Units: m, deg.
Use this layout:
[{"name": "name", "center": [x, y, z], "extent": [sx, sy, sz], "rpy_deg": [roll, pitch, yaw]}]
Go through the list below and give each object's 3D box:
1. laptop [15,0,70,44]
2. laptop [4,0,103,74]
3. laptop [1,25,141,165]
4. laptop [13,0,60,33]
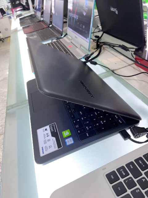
[{"name": "laptop", "center": [-0.225, -0.547, 1.053], "extent": [0.263, 0.195, 0.301], "rpy_deg": [-20, 38, -7]}, {"name": "laptop", "center": [-0.103, -0.356, 0.737], "extent": [0.331, 0.240, 0.370], "rpy_deg": [-21, 37, -6]}, {"name": "laptop", "center": [-0.041, -0.064, 0.421], "extent": [0.231, 0.146, 0.367], "rpy_deg": [-21, 37, -7]}, {"name": "laptop", "center": [-0.411, -0.924, 1.663], "extent": [0.379, 0.230, 0.298], "rpy_deg": [-22, 40, -8]}]
